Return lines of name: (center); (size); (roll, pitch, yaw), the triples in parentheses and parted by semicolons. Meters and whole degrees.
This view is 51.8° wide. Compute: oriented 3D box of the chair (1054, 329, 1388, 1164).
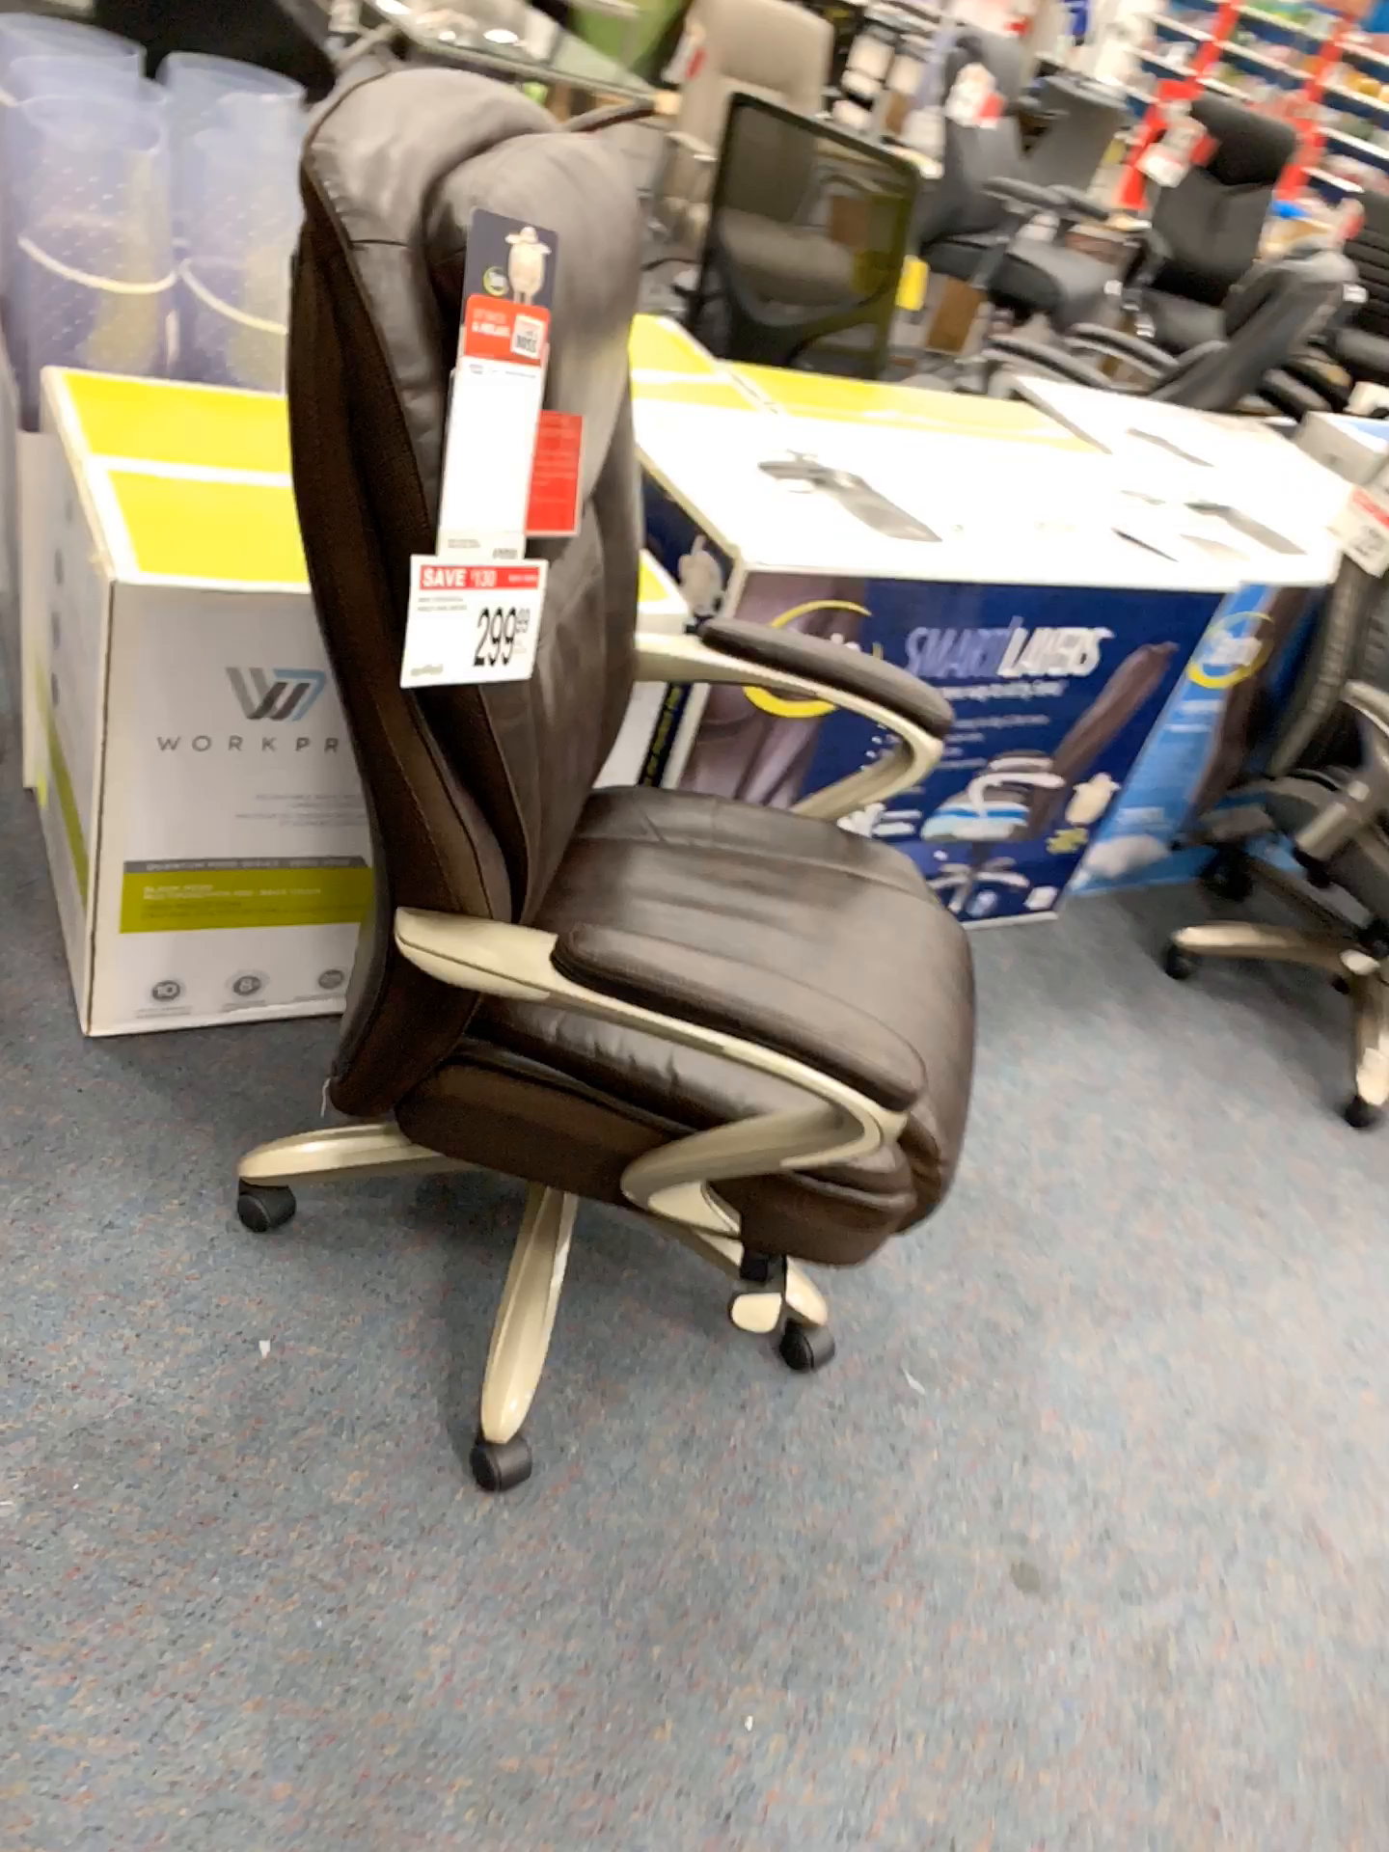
chair: (1.273, -0.274, 2.321); (0.701, 0.995, 0.758); (-3, 42, -29)

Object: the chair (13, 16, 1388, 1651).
chair: (-0.013, -0.096, 1.380); (0.844, 1.104, 0.785); (23, 36, 2)
